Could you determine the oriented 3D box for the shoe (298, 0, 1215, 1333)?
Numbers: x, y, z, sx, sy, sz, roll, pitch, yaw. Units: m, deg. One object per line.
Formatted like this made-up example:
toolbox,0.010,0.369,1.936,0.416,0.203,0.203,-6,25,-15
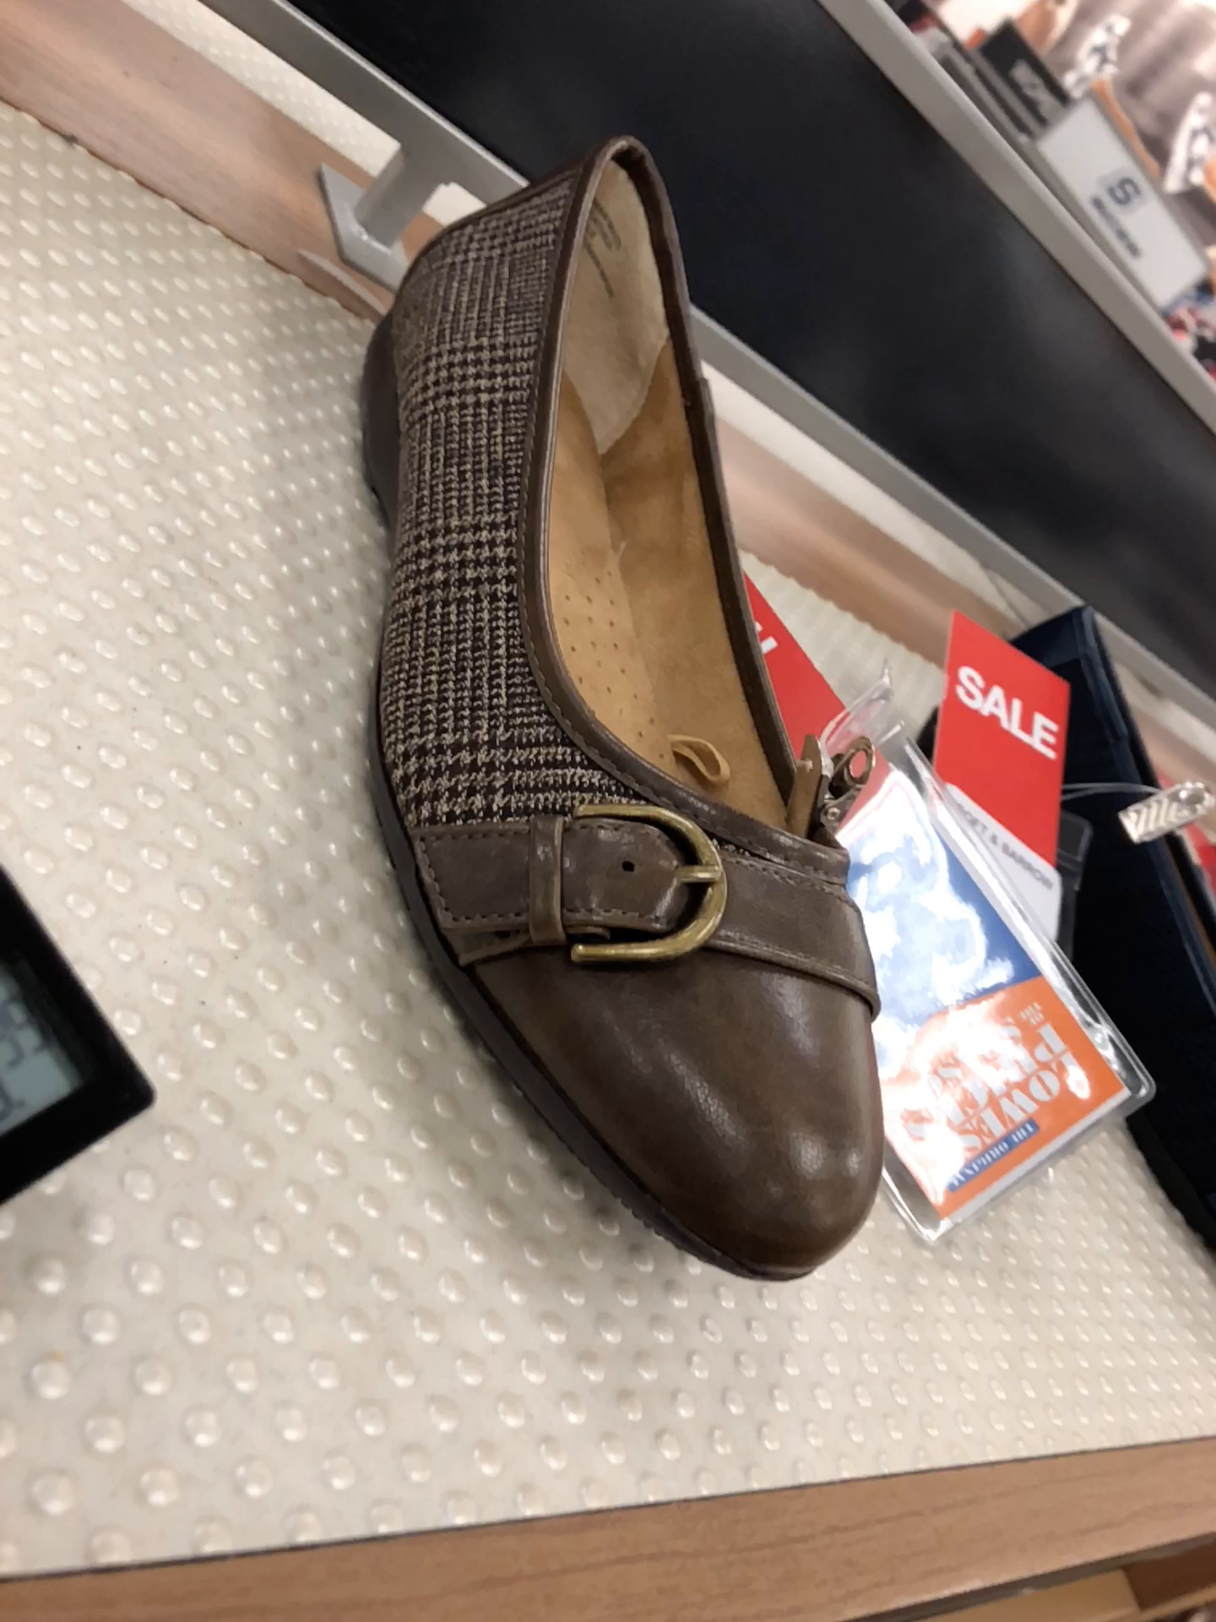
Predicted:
shoe,0.011,-0.050,0.277,0.093,0.079,0.278,22,39,-40
